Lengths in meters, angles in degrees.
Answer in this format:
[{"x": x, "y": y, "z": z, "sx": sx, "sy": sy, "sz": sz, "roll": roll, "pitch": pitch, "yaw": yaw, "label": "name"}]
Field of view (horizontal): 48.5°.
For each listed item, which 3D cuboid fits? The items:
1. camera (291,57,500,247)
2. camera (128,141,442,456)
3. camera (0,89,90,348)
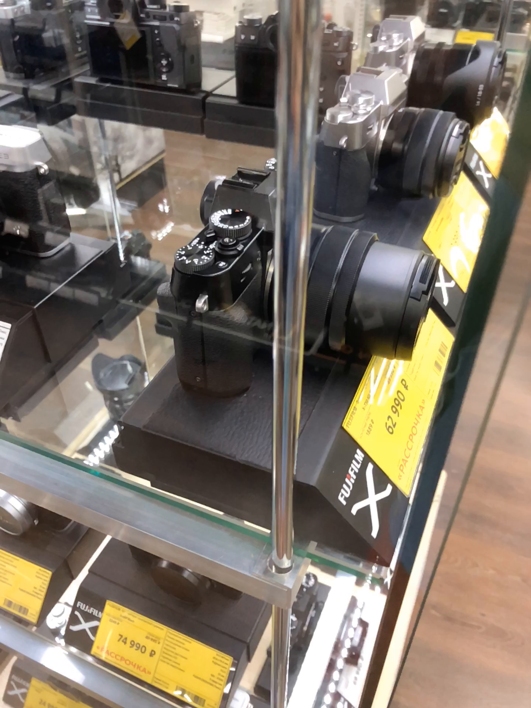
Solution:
[{"x": 0.091, "y": -0.147, "z": 0.414, "sx": 0.108, "sy": 0.078, "sz": 0.114, "roll": 16, "pitch": 43, "yaw": 19, "label": "camera"}, {"x": 0.016, "y": -0.035, "z": 0.295, "sx": 0.110, "sy": 0.090, "sz": 0.114, "roll": 14, "pitch": 42, "yaw": 17, "label": "camera"}, {"x": -0.196, "y": -0.087, "z": 0.351, "sx": 0.114, "sy": 0.090, "sz": 0.120, "roll": 15, "pitch": 42, "yaw": 17, "label": "camera"}]
